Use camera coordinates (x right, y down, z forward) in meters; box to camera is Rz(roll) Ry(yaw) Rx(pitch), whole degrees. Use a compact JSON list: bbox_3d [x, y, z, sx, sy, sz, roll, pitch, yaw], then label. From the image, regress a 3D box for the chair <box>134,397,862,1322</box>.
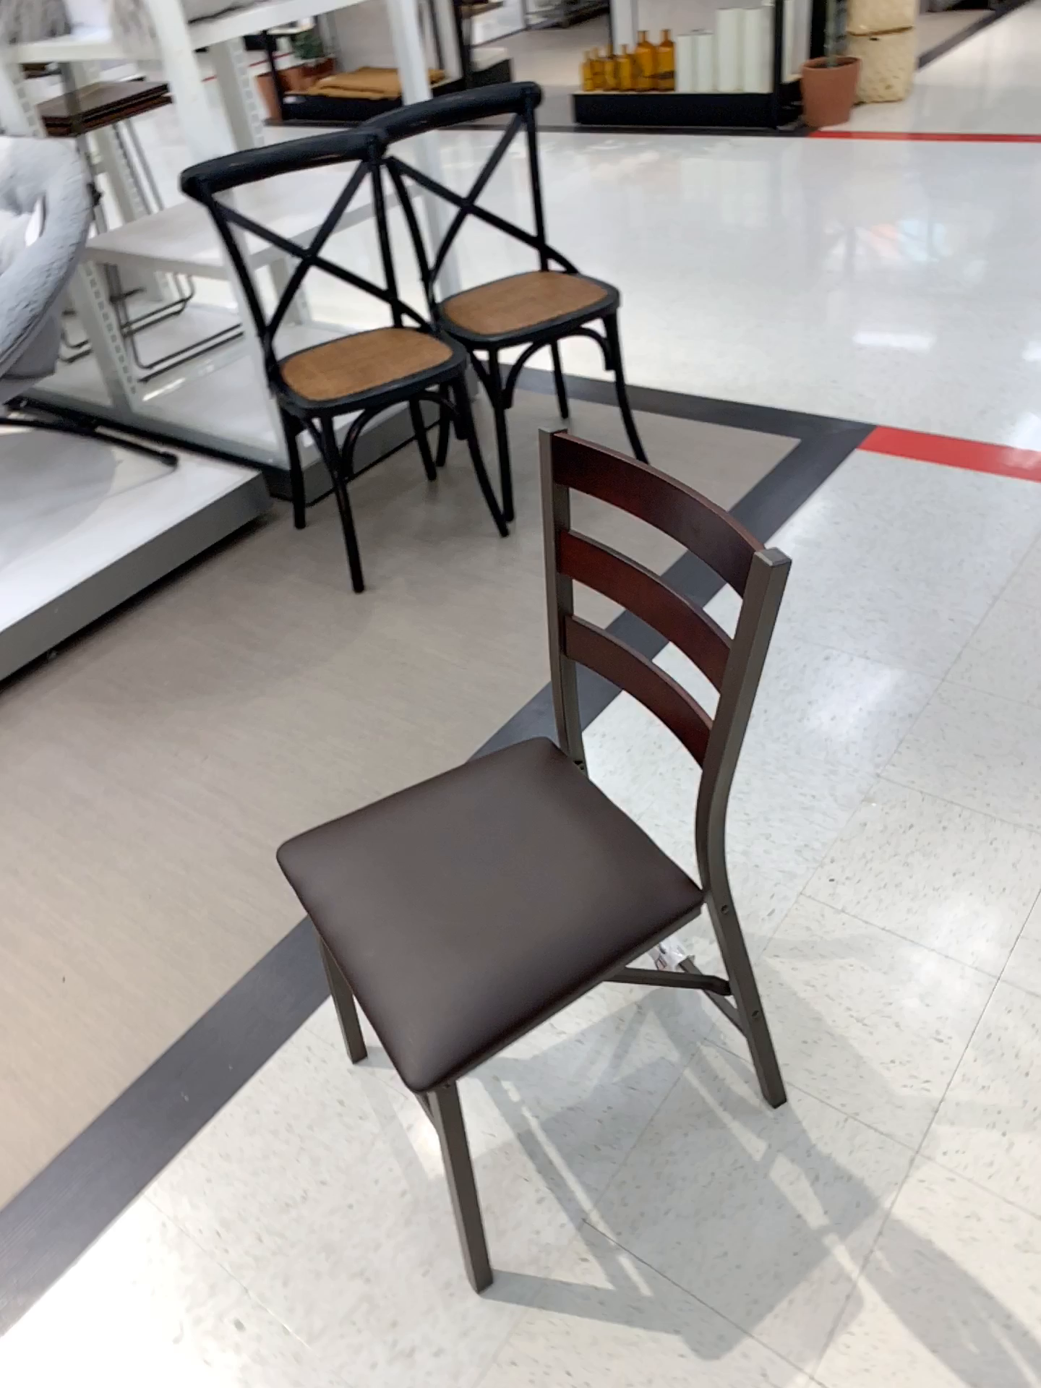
[{"bbox_3d":[0.010,0.196,1.225,0.520,0.826,0.442,-25,41,-19],"label":"chair"}]
